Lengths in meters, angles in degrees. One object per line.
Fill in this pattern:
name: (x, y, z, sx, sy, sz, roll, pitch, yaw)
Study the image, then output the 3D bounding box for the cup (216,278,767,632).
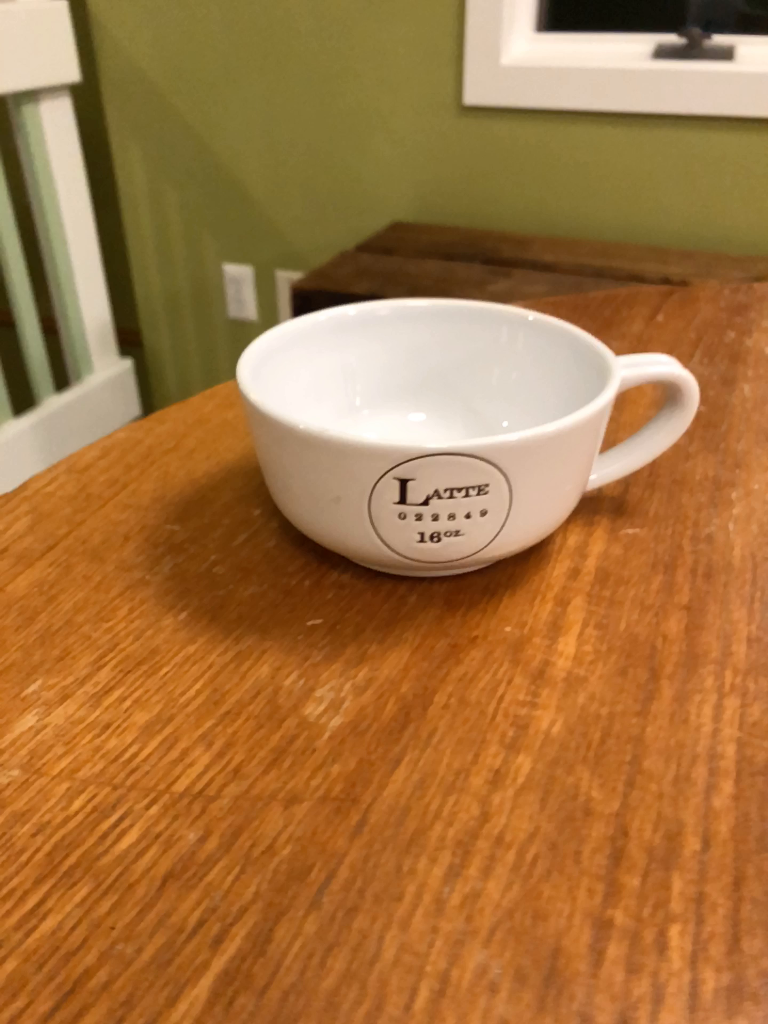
cup: (0.036, -0.035, 0.327, 0.179, 0.055, 0.139, -9, 32, -13)
